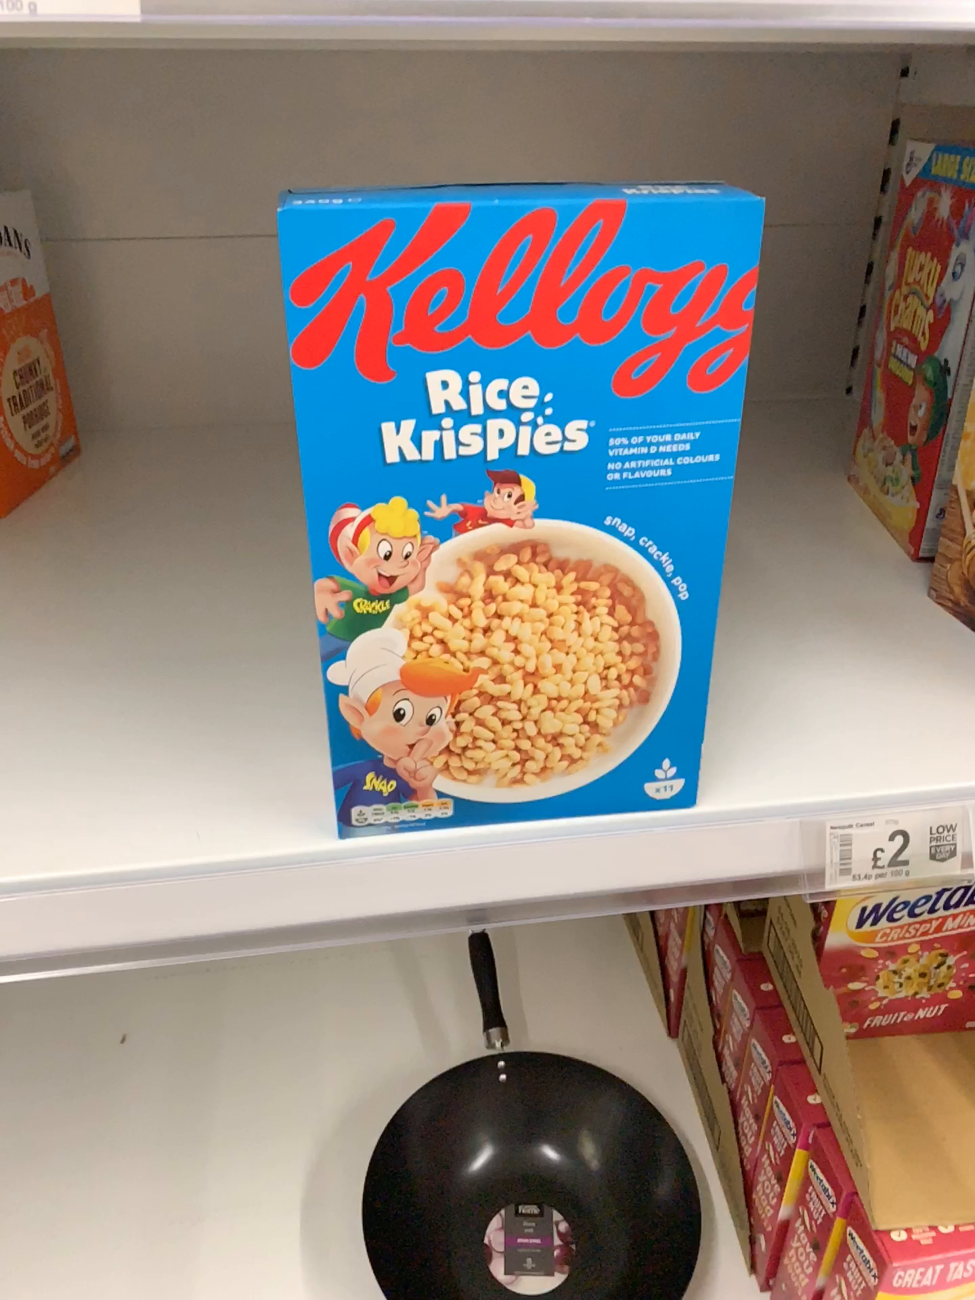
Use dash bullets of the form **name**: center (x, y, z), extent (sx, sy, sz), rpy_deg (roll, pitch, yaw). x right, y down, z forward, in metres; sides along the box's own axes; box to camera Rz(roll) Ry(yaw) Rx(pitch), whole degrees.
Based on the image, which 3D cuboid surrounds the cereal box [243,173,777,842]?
- **cereal box**: center (0.006, -0.058, 0.472), extent (0.200, 0.297, 0.071), rpy_deg (-4, 29, -7)
